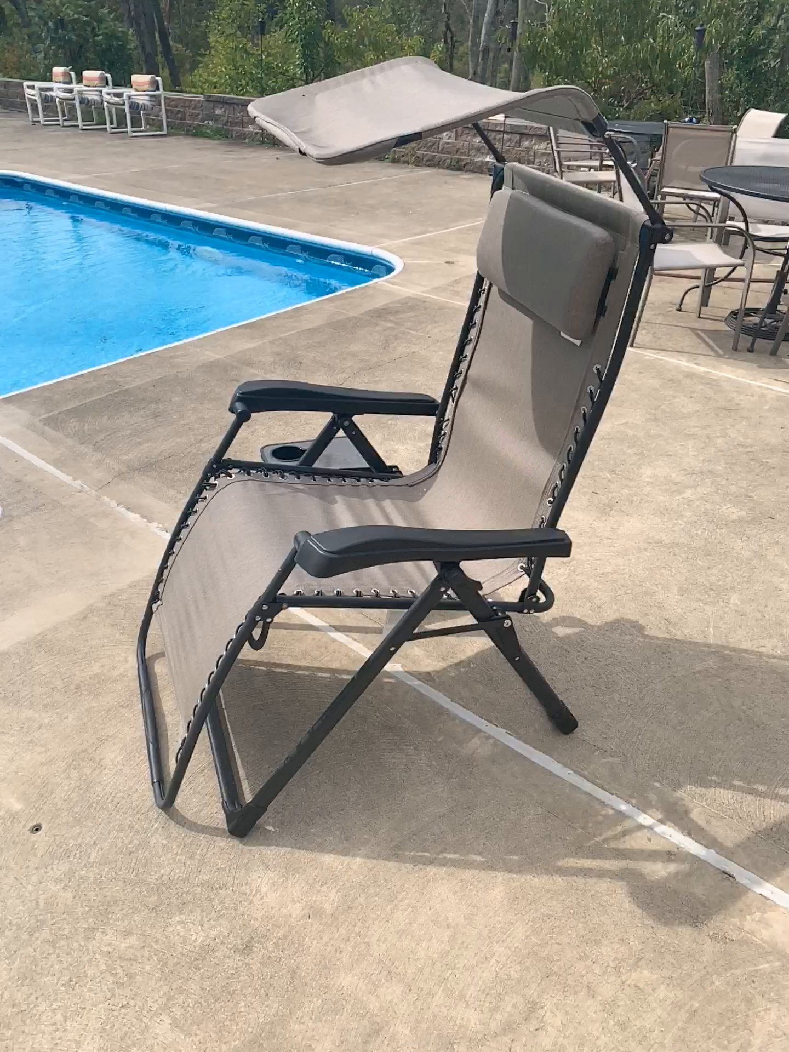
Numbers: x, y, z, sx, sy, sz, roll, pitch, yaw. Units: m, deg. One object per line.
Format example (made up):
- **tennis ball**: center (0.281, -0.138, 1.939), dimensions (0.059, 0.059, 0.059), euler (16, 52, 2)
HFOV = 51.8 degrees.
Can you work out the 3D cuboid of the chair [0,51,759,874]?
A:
- **chair**: center (-0.180, -0.253, 1.569), dimensions (0.915, 1.137, 1.059), euler (-9, 32, -16)
